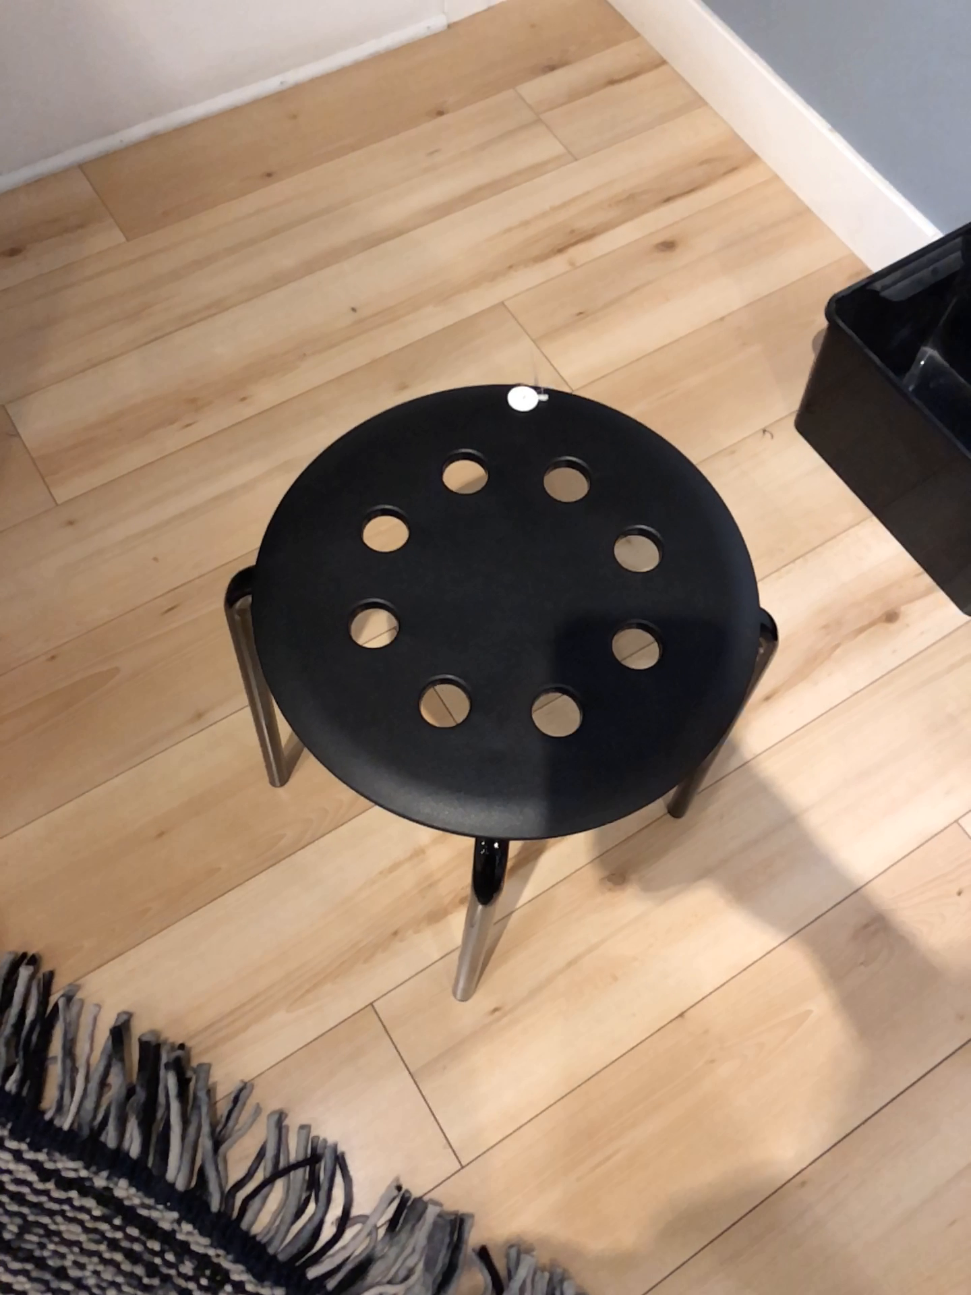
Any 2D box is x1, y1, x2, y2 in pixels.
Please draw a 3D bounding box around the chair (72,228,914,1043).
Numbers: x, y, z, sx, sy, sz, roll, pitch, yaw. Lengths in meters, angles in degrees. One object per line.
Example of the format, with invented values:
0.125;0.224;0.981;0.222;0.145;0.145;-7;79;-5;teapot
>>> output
-0.004;0.017;0.850;0.370;0.400;0.380;-36;72;-17;chair
